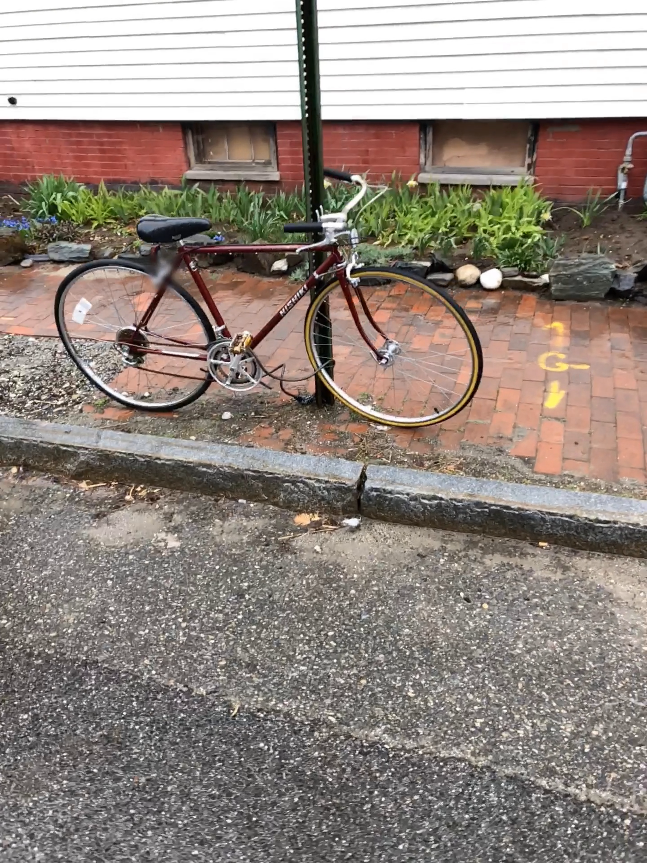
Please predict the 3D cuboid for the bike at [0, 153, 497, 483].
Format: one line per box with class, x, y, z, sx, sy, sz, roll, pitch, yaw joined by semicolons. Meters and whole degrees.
bike;-0.270;-0.413;2.453;1.604;0.907;0.502;5;30;16
